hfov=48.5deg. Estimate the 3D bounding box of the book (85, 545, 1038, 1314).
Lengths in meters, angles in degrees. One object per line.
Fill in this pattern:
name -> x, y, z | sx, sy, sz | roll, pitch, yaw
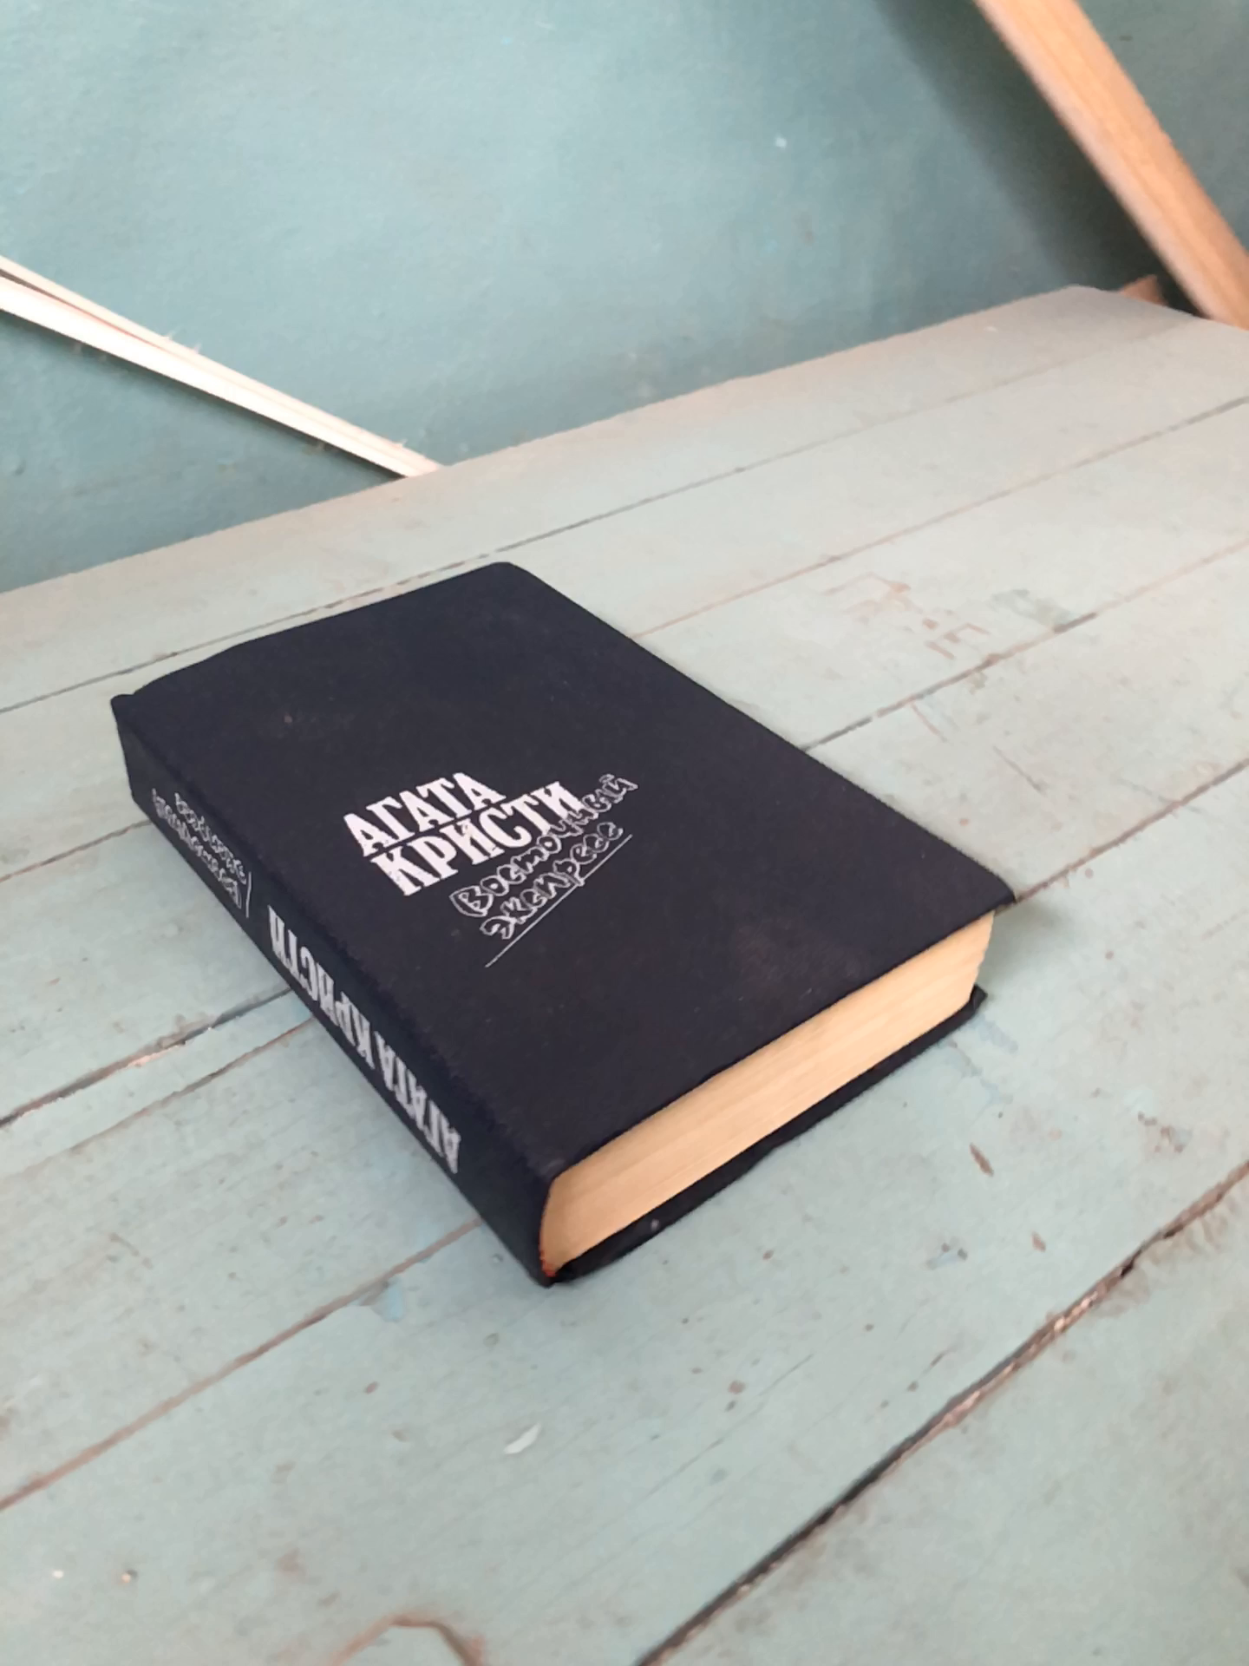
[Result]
book -> -0.026, 0.000, 0.355 | 0.138, 0.040, 0.211 | -26, 45, -30
